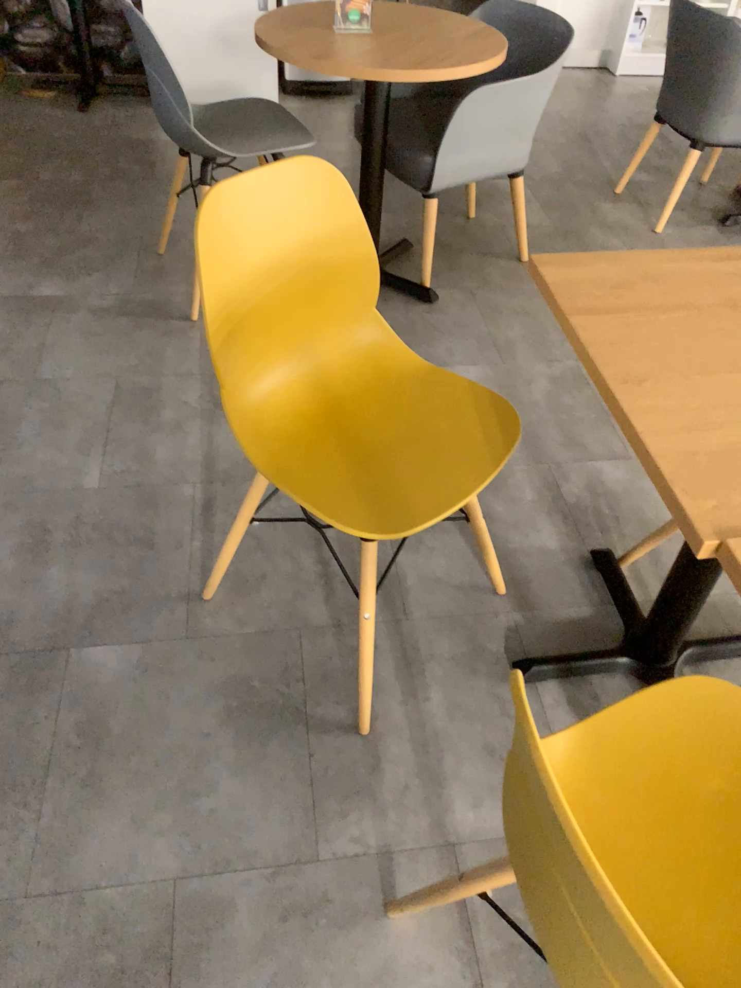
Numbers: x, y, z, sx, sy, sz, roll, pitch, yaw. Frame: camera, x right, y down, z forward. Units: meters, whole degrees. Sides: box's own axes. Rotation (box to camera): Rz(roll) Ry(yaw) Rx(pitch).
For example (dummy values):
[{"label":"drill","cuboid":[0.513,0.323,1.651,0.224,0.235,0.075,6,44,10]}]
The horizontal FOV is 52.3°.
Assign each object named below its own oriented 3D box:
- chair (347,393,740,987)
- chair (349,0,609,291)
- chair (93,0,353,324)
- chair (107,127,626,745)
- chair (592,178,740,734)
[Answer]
[{"label":"chair","cuboid":[0.300,0.394,0.802,0.492,0.776,0.501,-12,46,-17]},{"label":"chair","cuboid":[0.305,-1.198,2.497,0.523,0.756,0.550,-21,49,-24]},{"label":"chair","cuboid":[-0.405,-1.004,2.171,0.523,0.776,0.500,-16,47,-20]},{"label":"chair","cuboid":[-0.014,-0.095,1.302,0.494,0.786,0.519,33,51,27]},{"label":"chair","cuboid":[0.800,-0.046,1.287,0.492,0.776,0.501,-4,44,-9]}]
